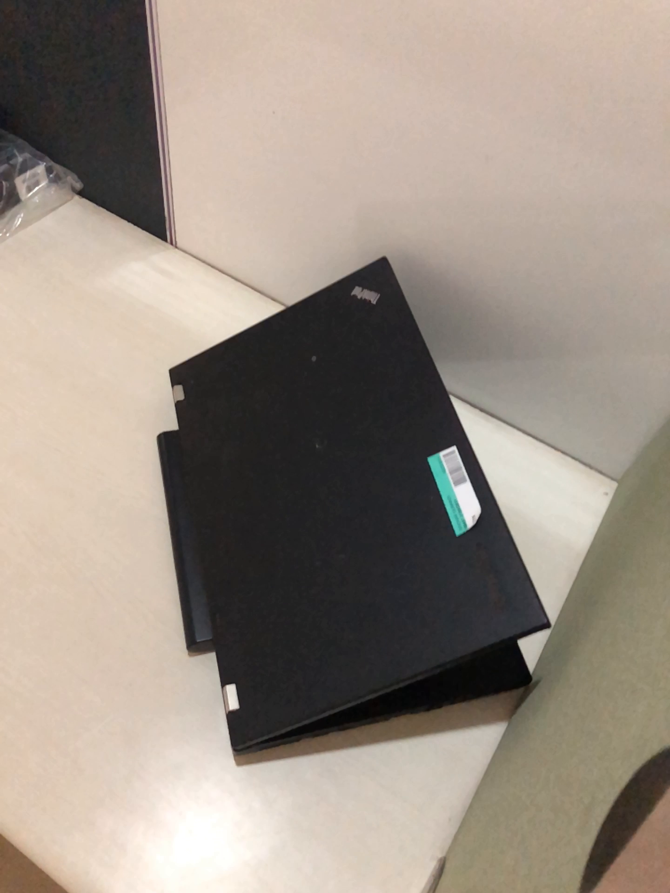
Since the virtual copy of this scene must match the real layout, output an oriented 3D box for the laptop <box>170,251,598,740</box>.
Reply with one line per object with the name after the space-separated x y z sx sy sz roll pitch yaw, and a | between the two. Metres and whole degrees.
0.006 0.018 0.610 0.232 0.140 0.356 -9 54 -11 | laptop
